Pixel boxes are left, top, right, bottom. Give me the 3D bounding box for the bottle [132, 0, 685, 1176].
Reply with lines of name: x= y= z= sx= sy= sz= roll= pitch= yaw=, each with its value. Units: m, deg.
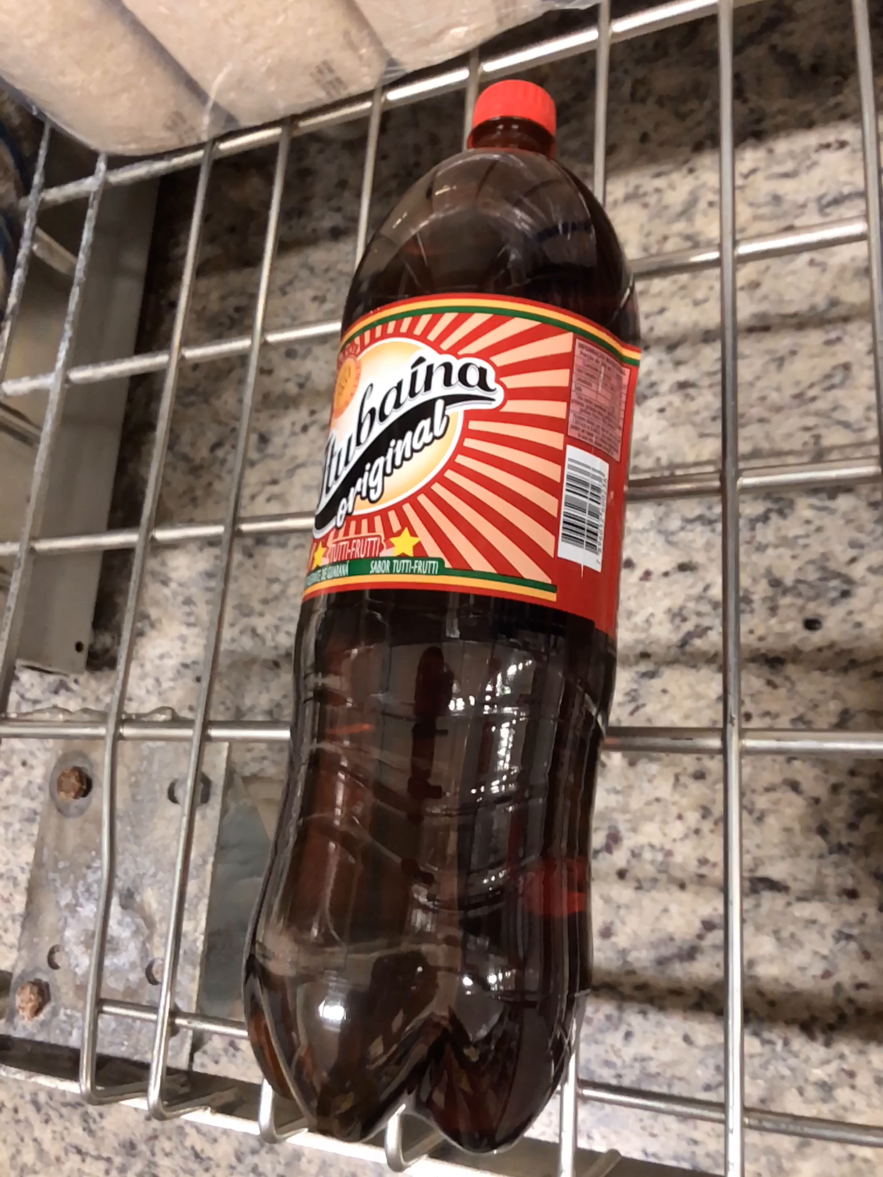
bottle: x=0.001 y=-0.010 z=0.285 sx=0.110 sy=0.070 sz=0.320 roll=-1 pitch=77 yaw=27
